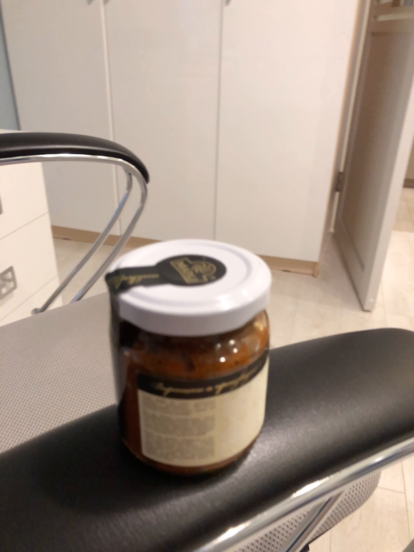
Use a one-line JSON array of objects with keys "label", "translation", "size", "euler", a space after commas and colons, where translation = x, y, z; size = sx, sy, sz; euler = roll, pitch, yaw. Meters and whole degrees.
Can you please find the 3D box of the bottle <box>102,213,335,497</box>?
[{"label": "bottle", "translation": [-0.001, 0.023, 0.165], "size": [0.060, 0.070, 0.060], "euler": [-7, 29, -17]}]
